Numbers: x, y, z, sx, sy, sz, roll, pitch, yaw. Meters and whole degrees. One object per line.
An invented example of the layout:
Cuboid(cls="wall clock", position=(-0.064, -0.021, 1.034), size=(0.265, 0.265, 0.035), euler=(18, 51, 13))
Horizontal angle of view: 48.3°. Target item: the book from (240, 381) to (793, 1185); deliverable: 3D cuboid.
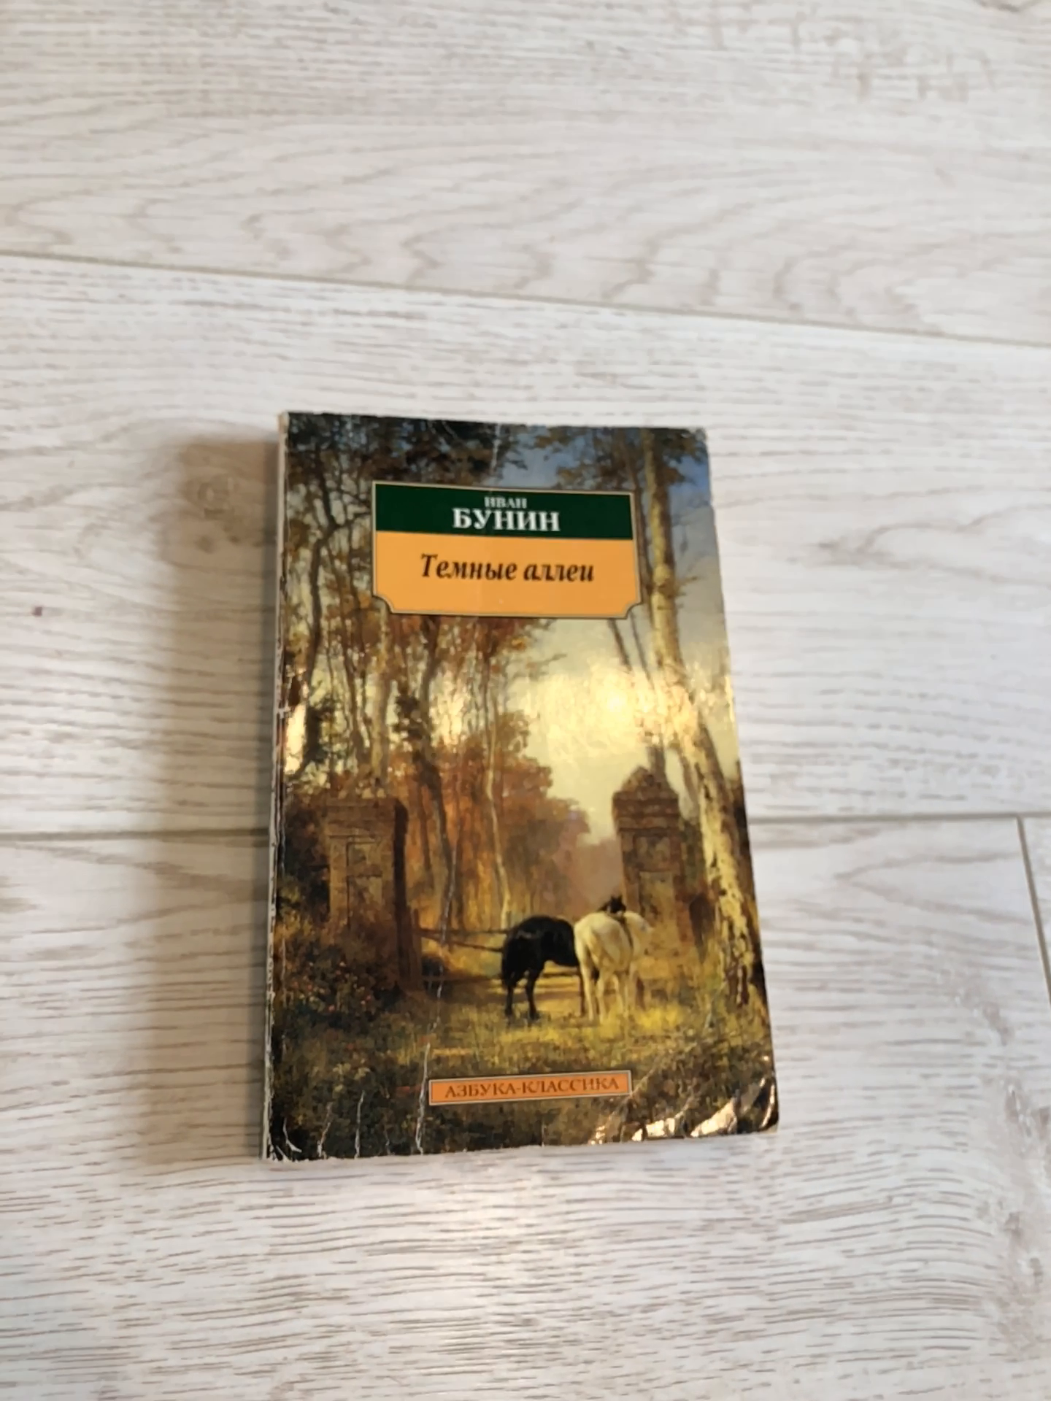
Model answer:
Cuboid(cls="book", position=(-0.006, 0.012, 0.273), size=(0.112, 0.024, 0.177), euler=(0, 72, -11))
